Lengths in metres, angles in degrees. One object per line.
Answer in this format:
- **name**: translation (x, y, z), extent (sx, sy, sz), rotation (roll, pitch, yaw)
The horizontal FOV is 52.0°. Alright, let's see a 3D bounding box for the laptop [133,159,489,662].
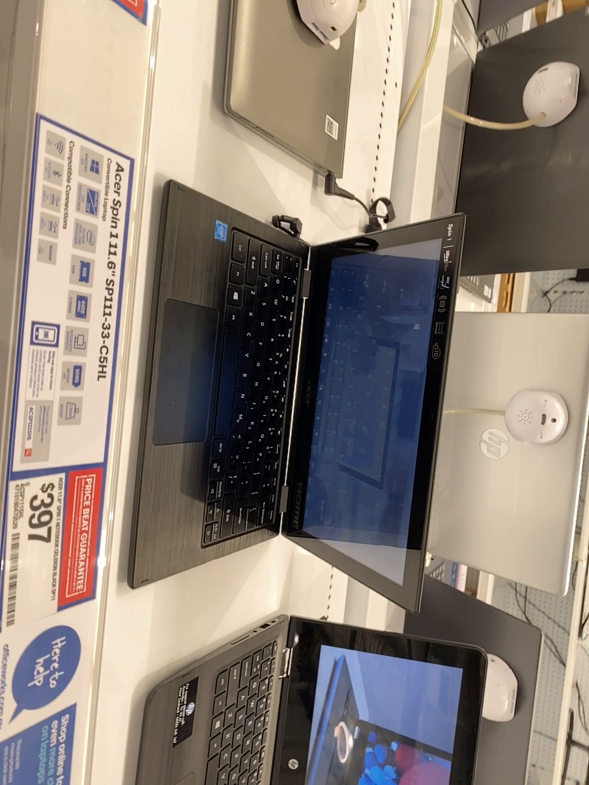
- **laptop**: translation (0.023, 0.005, 0.473), extent (0.198, 0.174, 0.290), rotation (2, 94, -59)

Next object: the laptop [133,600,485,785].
- **laptop**: translation (0.033, 0.415, 0.571), extent (0.298, 0.189, 0.323), rotation (1, 95, -59)

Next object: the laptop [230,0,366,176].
- **laptop**: translation (0.012, -0.366, 0.551), extent (0.196, 0.001, 0.284), rotation (1, 93, -59)
